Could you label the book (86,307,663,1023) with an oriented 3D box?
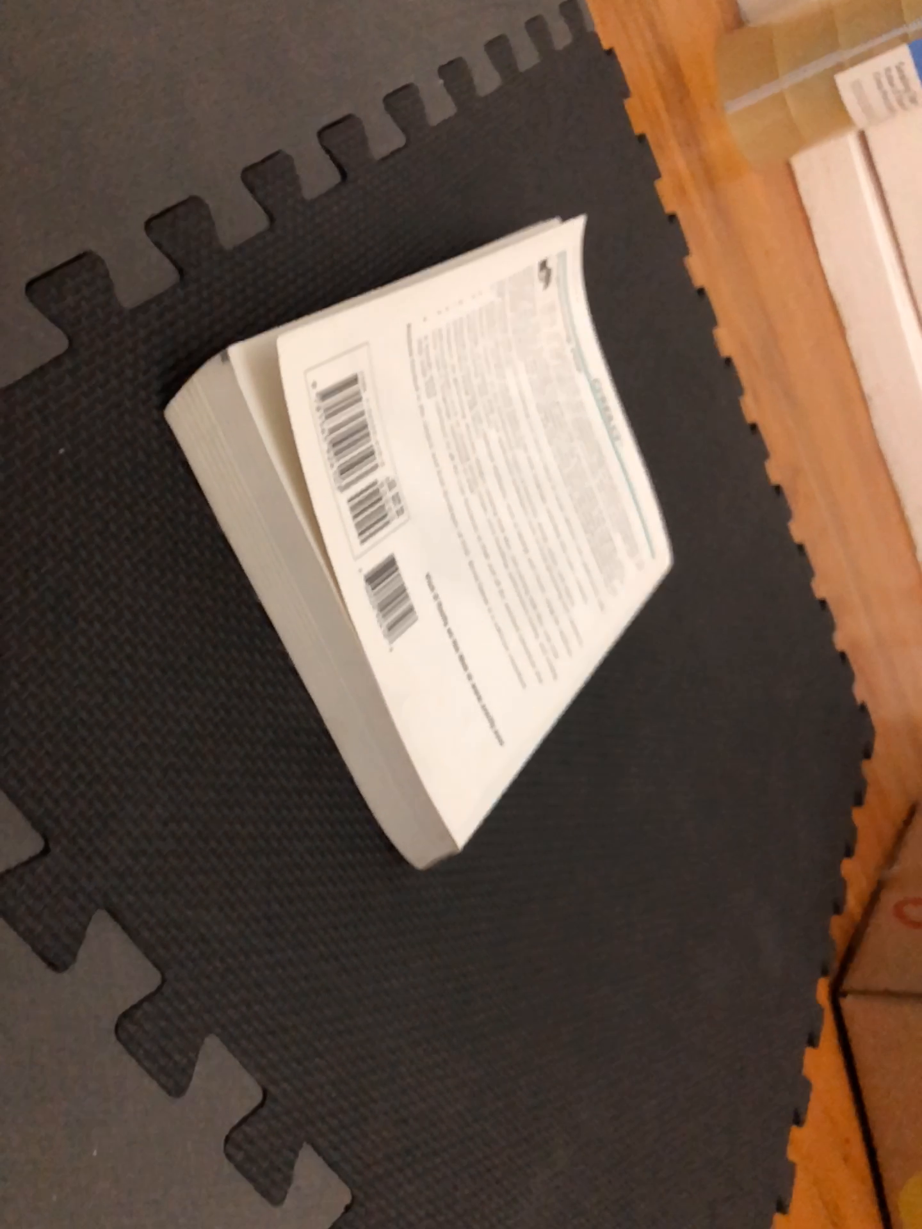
[{"bbox_3d":[-0.005,0.000,0.500,0.292,0.040,0.230,-43,115,-49],"label":"book"}]
